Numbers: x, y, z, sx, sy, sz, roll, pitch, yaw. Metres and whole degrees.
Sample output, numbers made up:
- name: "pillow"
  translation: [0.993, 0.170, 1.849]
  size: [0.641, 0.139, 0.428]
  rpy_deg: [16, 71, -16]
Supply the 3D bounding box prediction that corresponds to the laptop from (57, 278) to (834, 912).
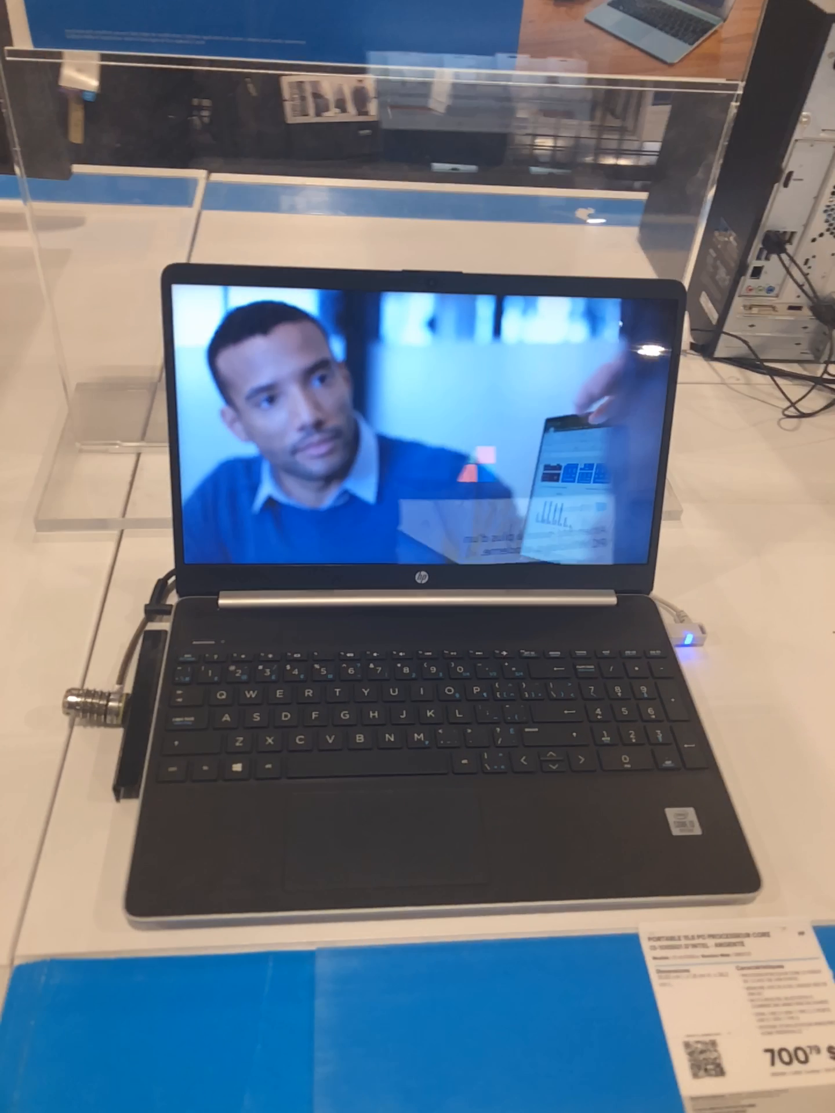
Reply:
- name: "laptop"
  translation: [0.016, 0.002, 0.559]
  size: [0.346, 0.196, 0.335]
  rpy_deg: [0, 42, -6]
